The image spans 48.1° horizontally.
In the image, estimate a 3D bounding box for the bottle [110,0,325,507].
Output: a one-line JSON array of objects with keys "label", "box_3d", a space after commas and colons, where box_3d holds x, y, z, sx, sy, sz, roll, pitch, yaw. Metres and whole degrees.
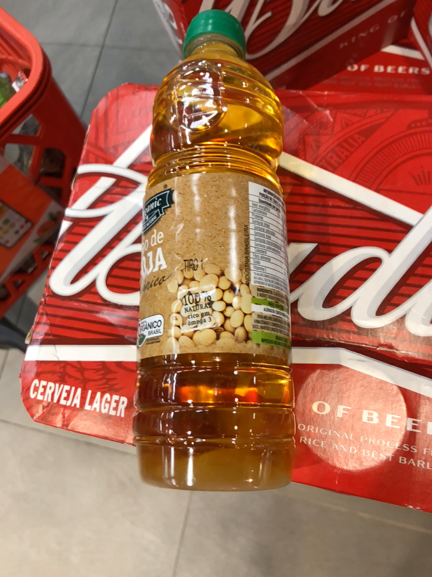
[{"label": "bottle", "box_3d": [-0.001, -0.040, 0.214, 0.060, 0.060, 0.240, 8, 72, -25]}]
